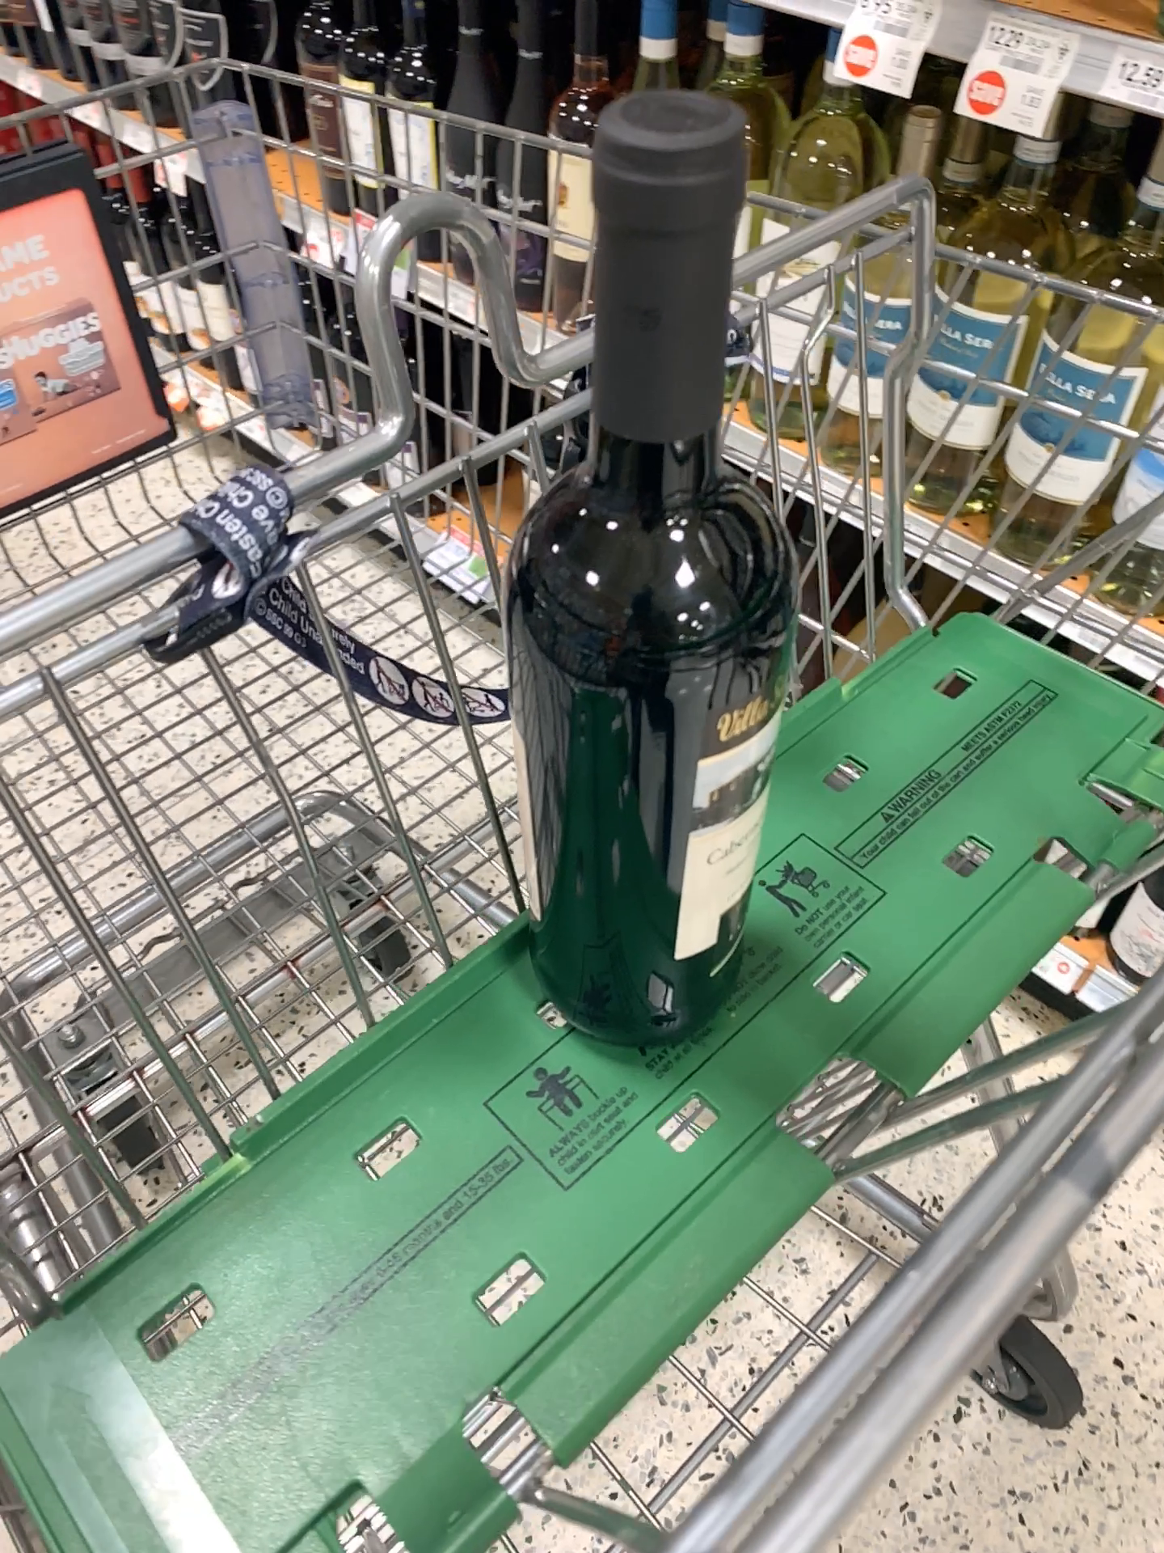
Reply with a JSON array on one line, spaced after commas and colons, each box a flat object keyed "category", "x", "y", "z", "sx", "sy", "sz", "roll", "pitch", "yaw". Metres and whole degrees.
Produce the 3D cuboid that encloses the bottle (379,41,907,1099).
[{"category": "bottle", "x": 0.017, "y": -0.025, "z": 0.321, "sx": 0.074, "sy": 0.277, "sz": 0.081, "roll": -1, "pitch": 48, "yaw": 1}]
